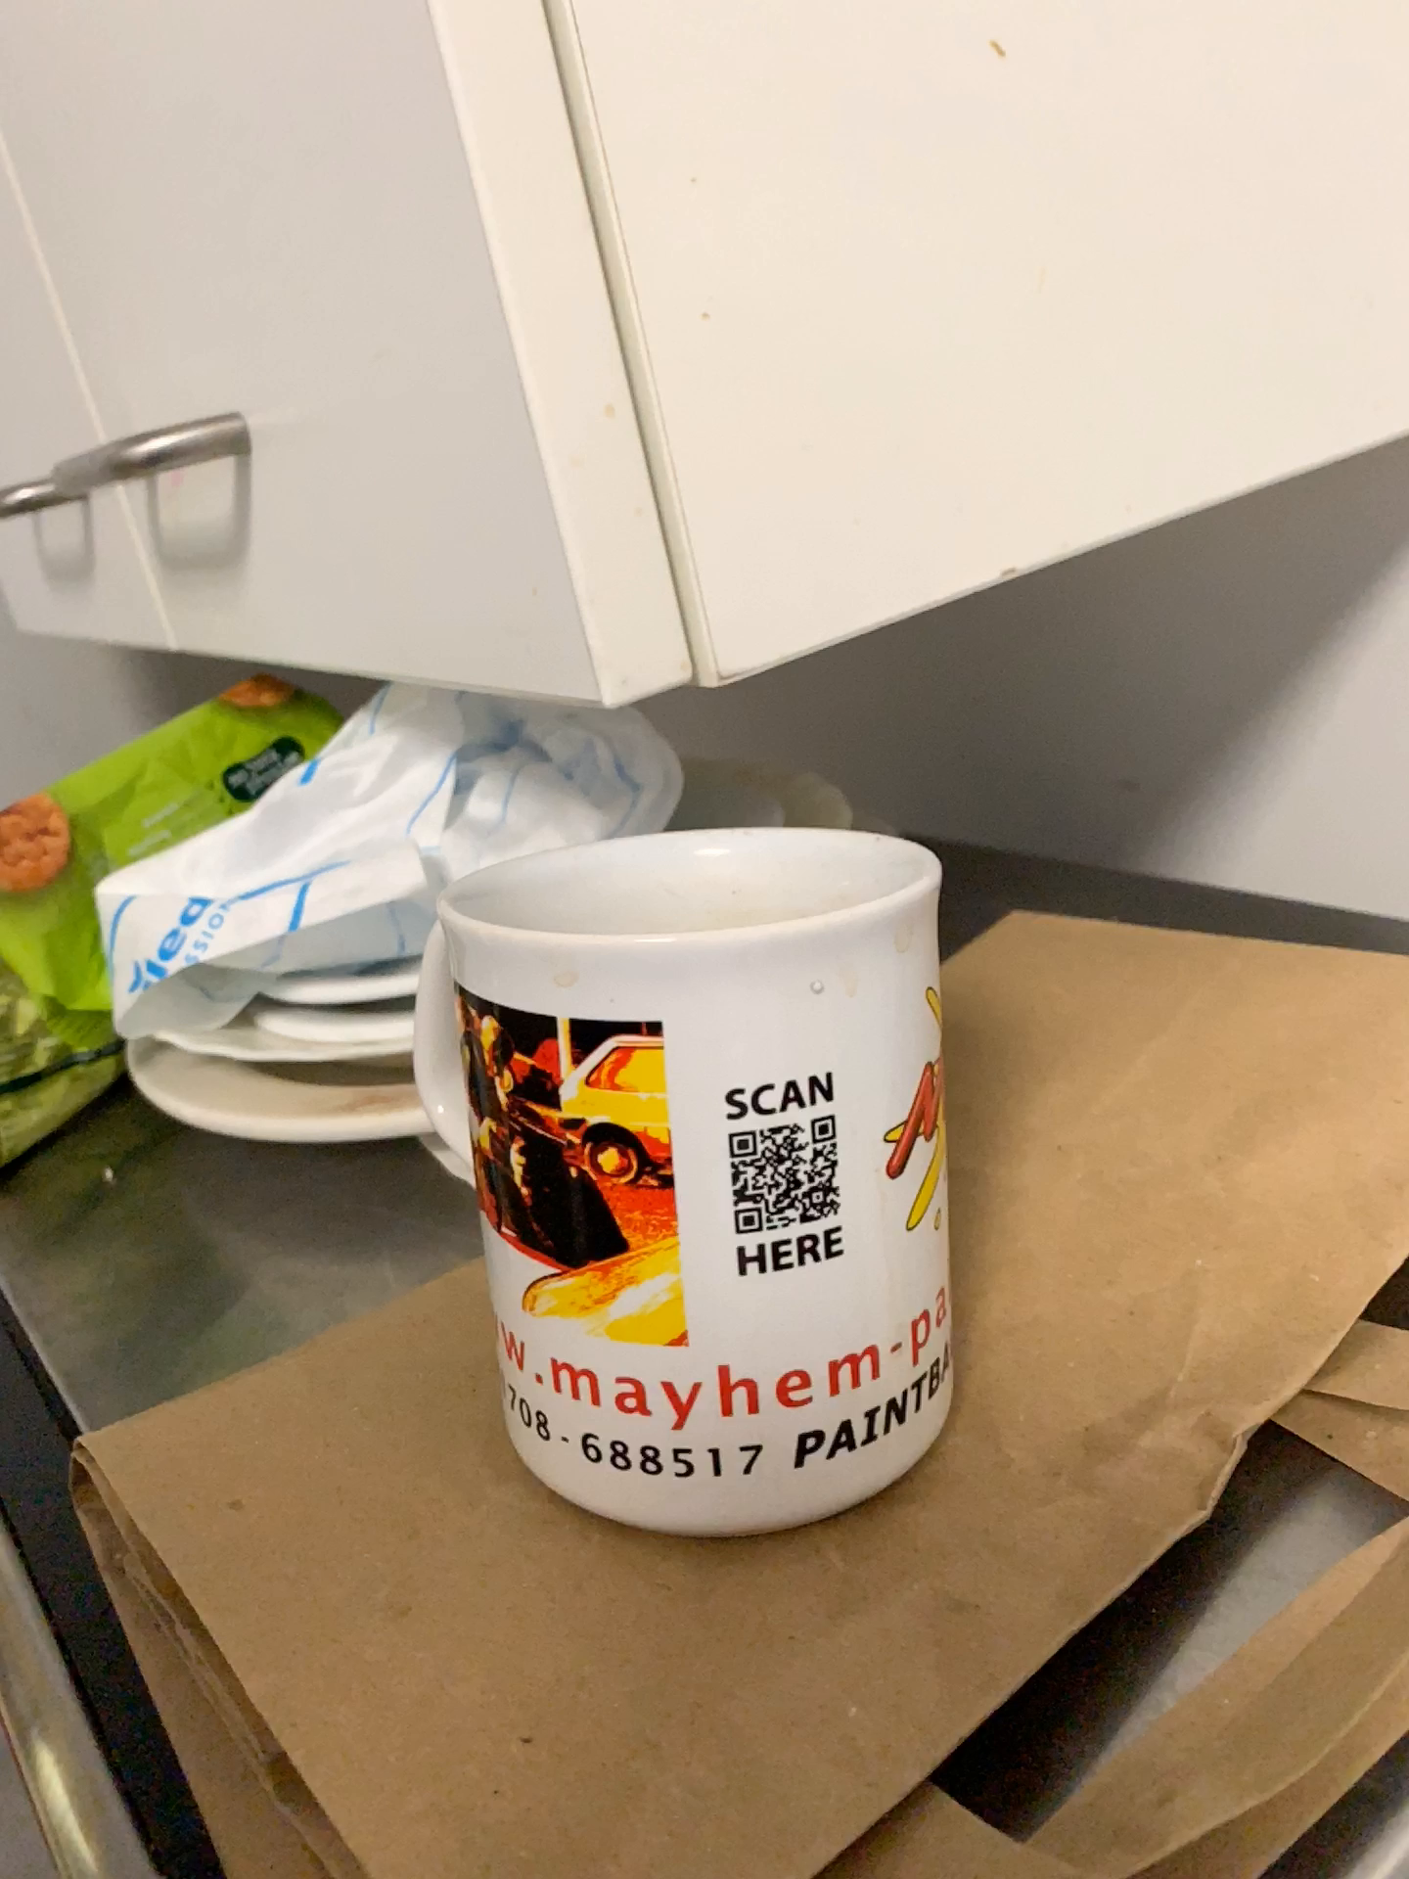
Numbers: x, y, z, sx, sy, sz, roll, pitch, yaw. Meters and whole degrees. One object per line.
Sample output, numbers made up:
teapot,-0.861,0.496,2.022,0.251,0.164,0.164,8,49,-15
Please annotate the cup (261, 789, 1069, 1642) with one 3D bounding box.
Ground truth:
cup,-0.008,0.029,0.236,0.078,0.088,0.100,-15,18,-36
